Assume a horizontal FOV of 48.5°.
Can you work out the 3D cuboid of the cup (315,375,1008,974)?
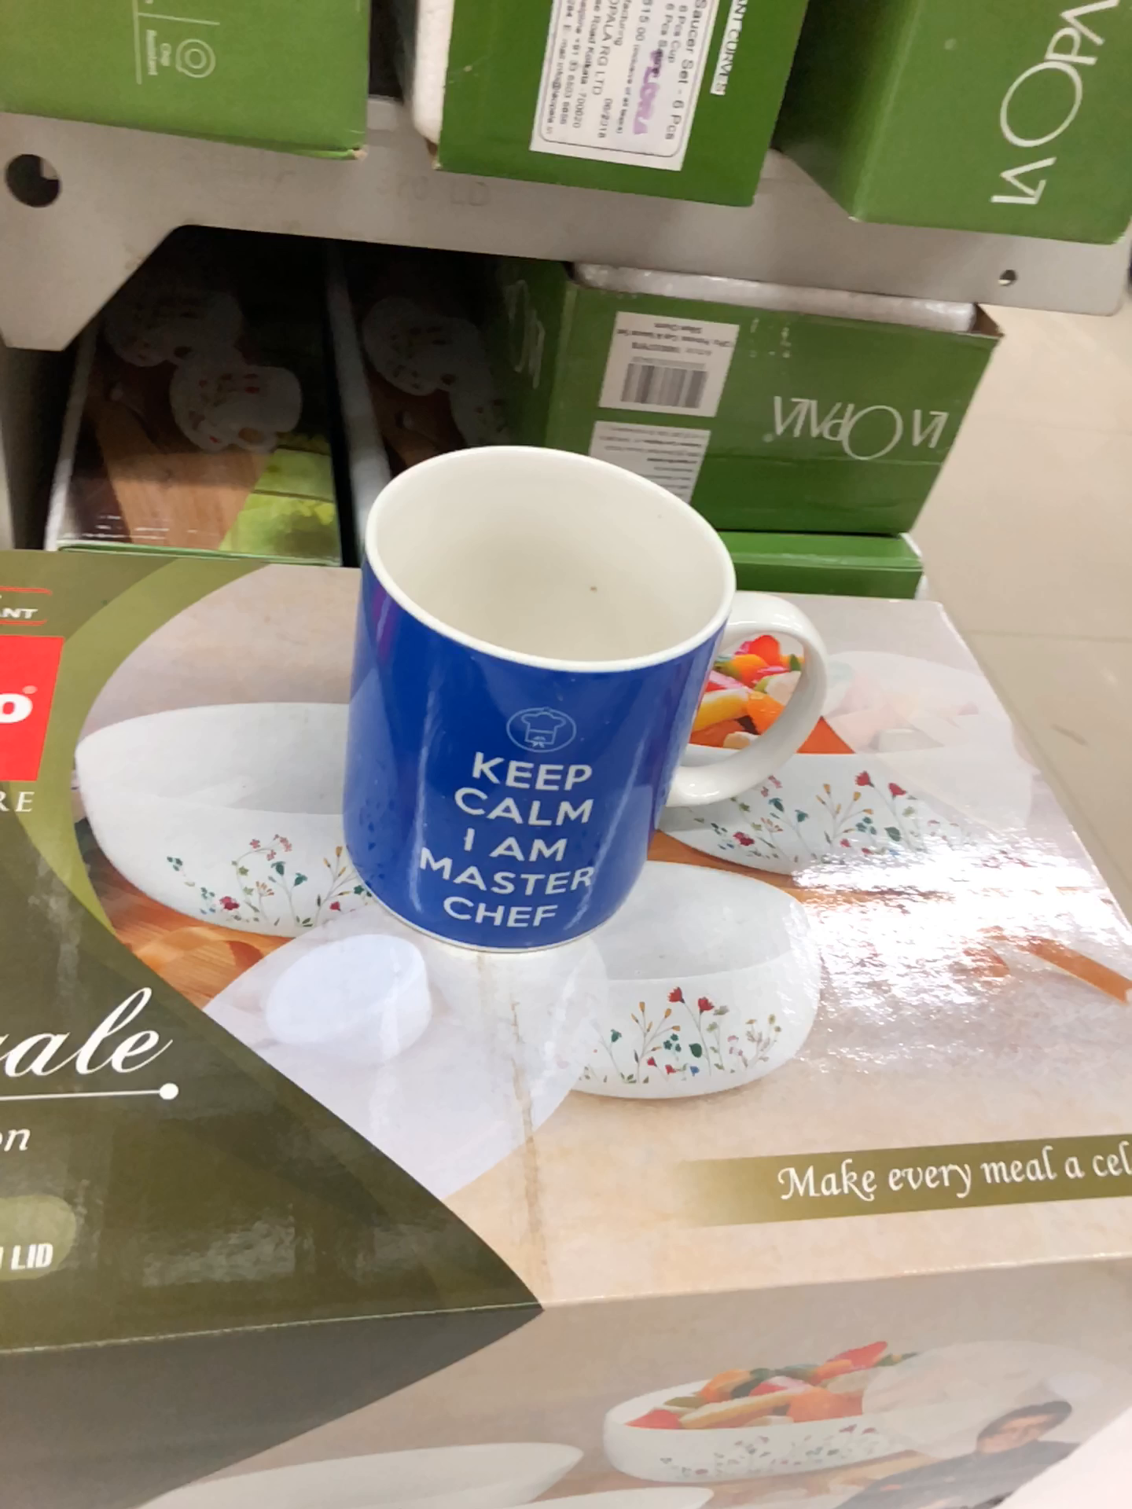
[{"bbox_3d":[0.010,-0.019,0.327,0.140,0.099,0.111,2,43,-14],"label":"cup"}]
